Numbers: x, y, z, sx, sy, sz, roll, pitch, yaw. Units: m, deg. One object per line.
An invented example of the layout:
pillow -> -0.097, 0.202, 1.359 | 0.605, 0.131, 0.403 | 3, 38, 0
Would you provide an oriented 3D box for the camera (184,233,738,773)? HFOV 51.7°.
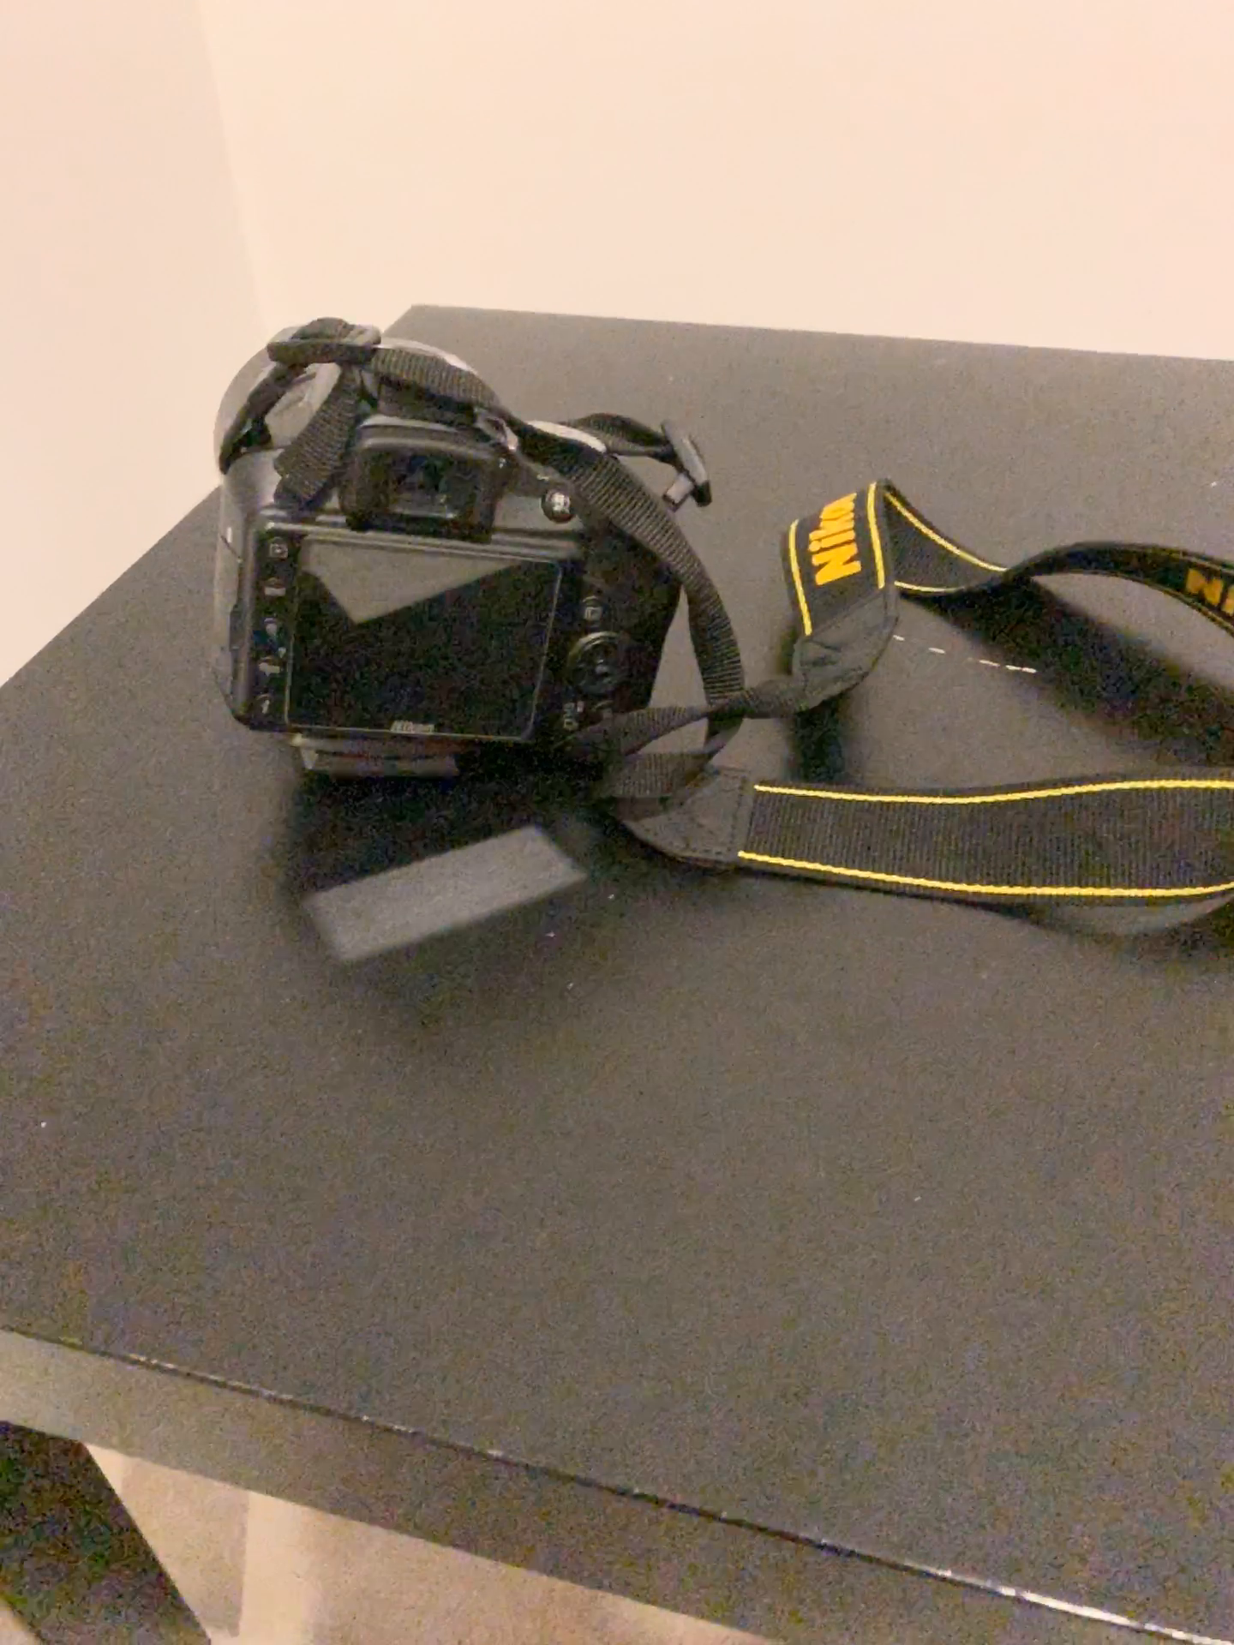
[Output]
camera -> -0.069, -0.112, 0.408 | 0.116, 0.089, 0.221 | 2, 31, -23
